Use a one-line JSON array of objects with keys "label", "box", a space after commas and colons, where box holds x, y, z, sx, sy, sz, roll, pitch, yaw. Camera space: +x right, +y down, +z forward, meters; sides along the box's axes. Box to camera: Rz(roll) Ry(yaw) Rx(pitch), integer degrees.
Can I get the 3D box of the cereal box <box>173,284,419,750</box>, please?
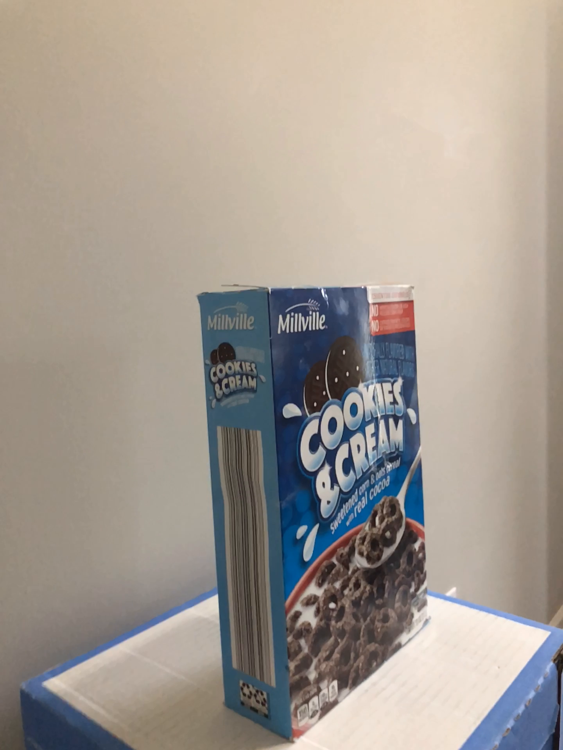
[{"label": "cereal box", "box": [0.025, 0.086, 0.495, 0.070, 0.310, 0.200, 1, 6, 39]}]
